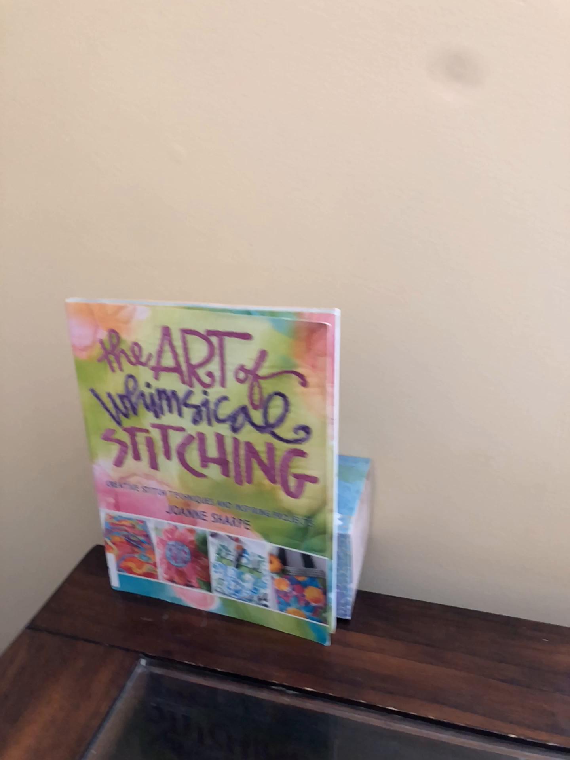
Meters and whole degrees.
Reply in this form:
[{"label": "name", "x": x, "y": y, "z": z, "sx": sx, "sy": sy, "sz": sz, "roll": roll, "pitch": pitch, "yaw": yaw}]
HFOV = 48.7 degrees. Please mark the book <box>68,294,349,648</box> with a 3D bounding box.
[{"label": "book", "x": -0.060, "y": 0.071, "z": 0.502, "sx": 0.214, "sy": 0.263, "sz": 0.029, "roll": 7, "pitch": 20, "yaw": 19}]
